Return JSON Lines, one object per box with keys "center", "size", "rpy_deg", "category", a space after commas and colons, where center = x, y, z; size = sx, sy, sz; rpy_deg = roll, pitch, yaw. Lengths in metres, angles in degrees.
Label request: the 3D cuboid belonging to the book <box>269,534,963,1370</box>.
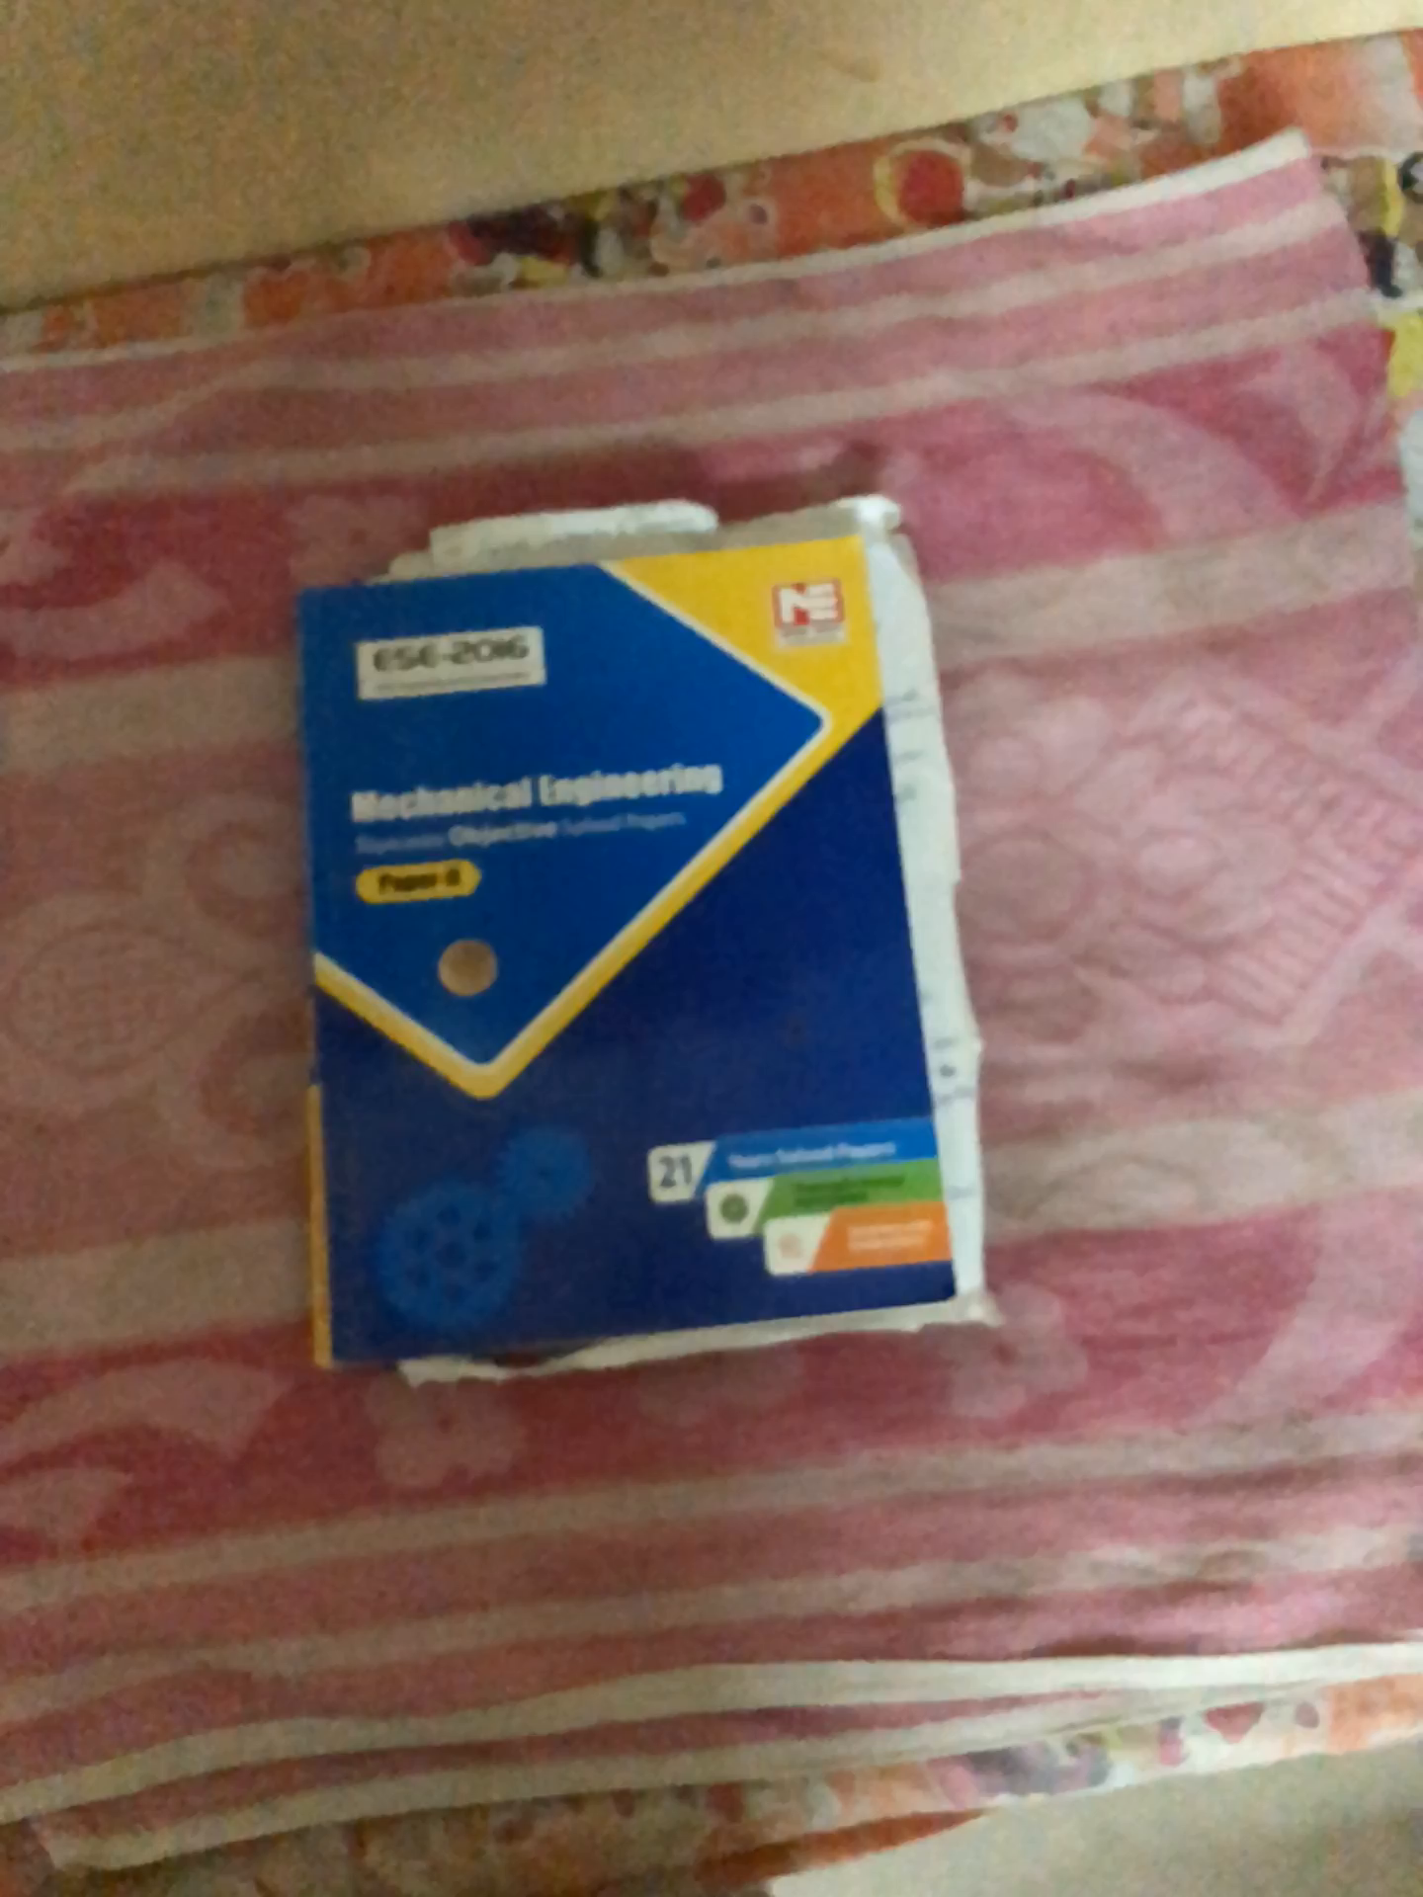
{"center": [-0.038, 0.000, 0.571], "size": [0.215, 0.055, 0.270], "rpy_deg": [-6, 78, 0], "category": "book"}
